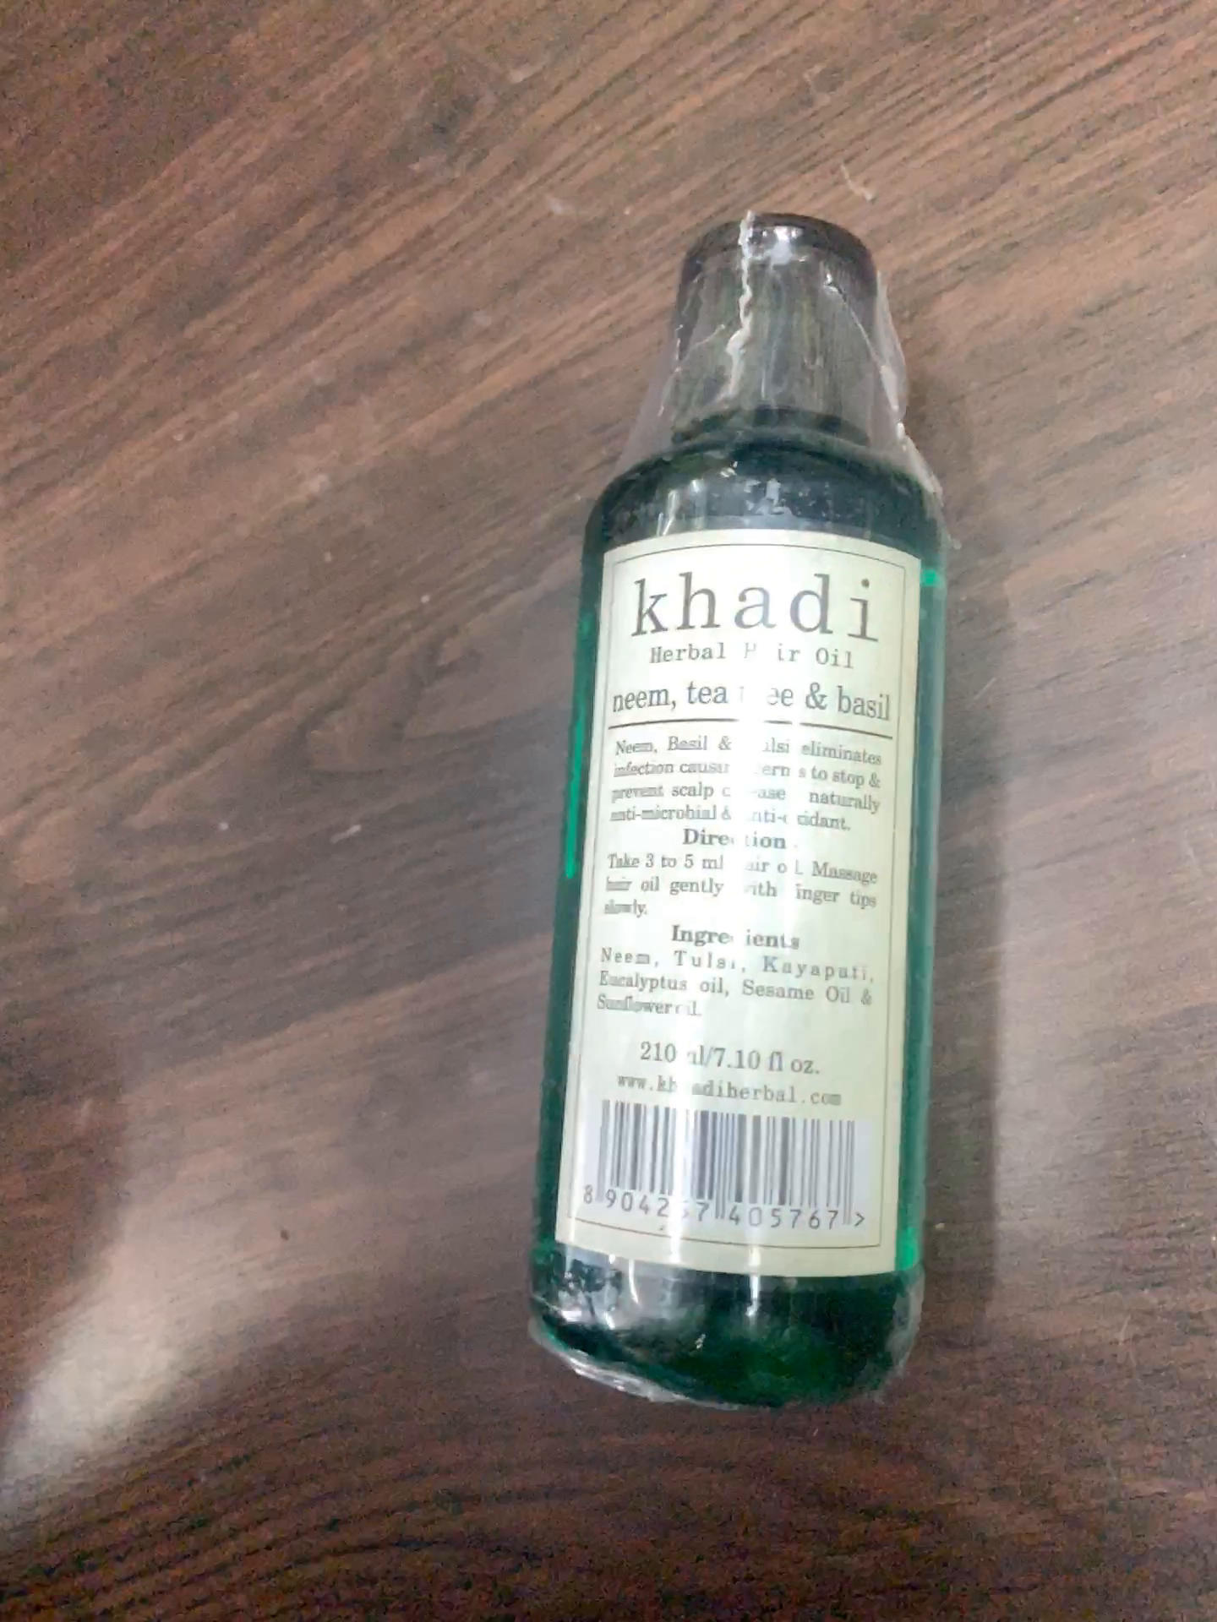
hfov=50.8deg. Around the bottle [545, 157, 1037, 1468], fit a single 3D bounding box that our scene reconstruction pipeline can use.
[{"bbox_3d":[0.023,-0.002,0.172,0.050,0.050,0.150,4,81,-1],"label":"bottle"}]
